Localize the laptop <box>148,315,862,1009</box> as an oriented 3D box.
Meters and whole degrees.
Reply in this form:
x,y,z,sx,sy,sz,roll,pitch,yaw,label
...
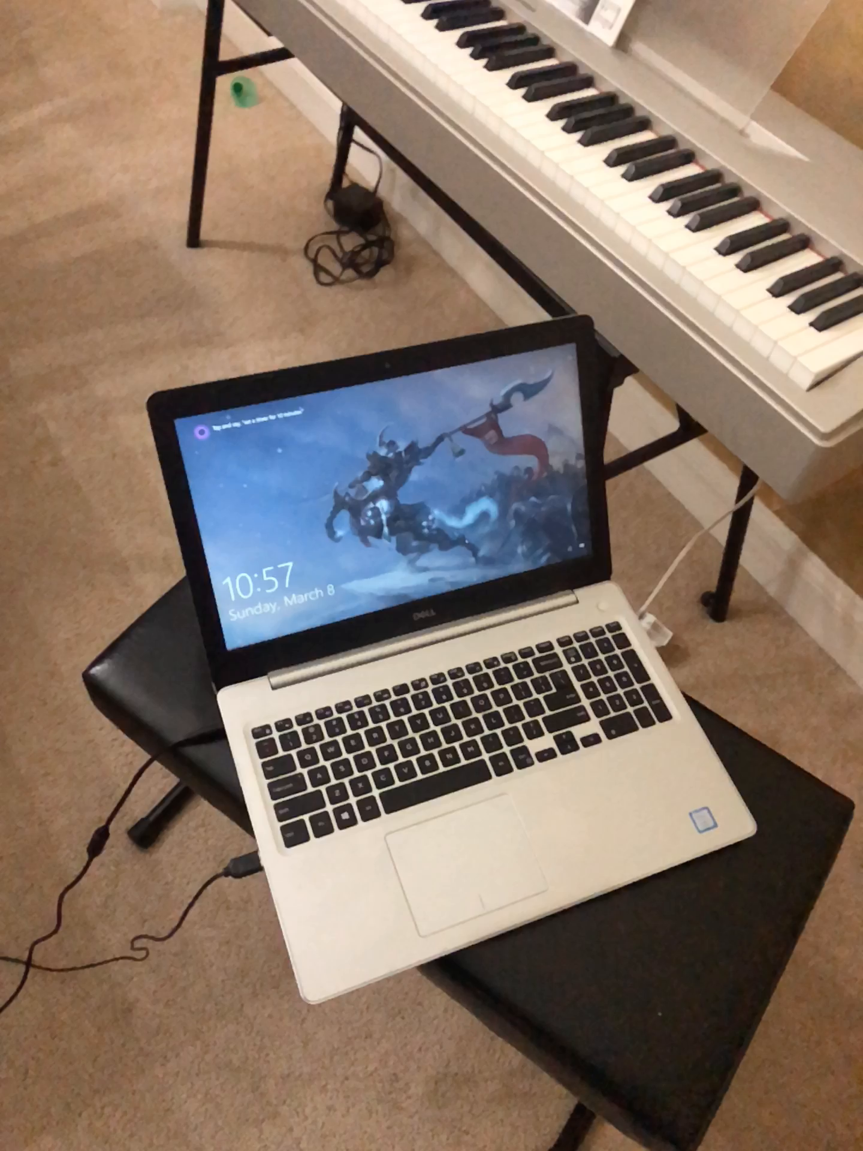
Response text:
x,y,z,sx,sy,sz,roll,pitch,yaw,label
0.031,0.037,0.726,0.375,0.184,0.409,-15,59,-17,laptop
